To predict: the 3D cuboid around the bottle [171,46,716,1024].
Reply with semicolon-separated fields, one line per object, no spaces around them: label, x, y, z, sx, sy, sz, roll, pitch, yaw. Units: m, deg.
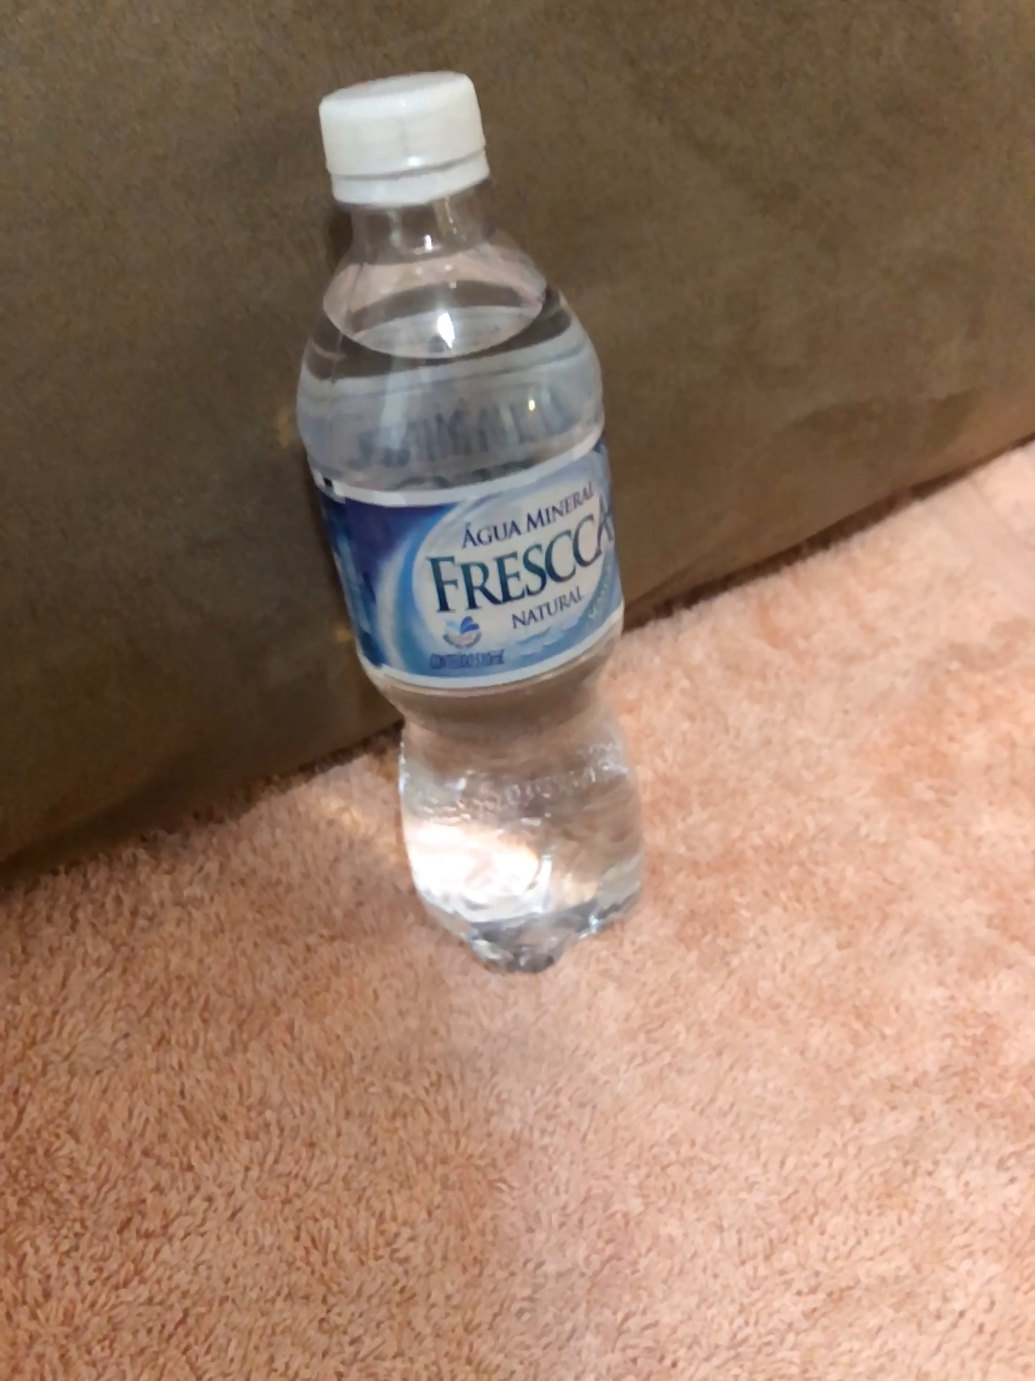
bottle;-0.008;-0.029;0.281;0.070;0.209;0.080;-22;38;-16
